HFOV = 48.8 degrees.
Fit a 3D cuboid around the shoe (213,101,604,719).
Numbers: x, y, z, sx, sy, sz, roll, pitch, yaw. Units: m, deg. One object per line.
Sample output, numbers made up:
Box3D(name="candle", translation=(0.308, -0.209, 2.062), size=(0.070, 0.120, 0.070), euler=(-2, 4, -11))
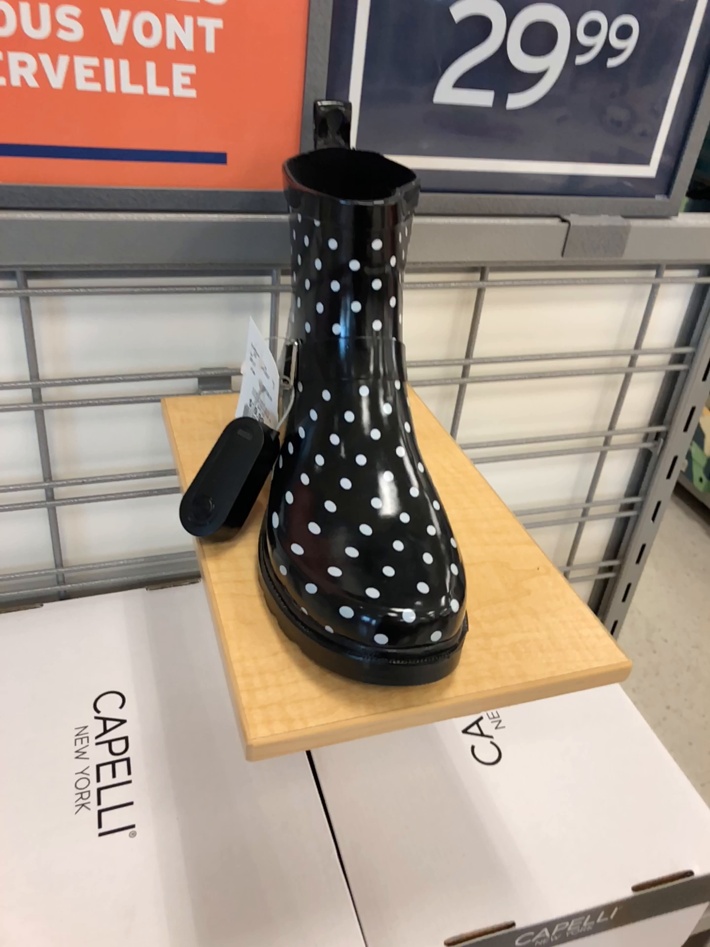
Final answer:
Box3D(name="shoe", translation=(-0.009, -0.054, 0.383), size=(0.095, 0.188, 0.262), euler=(-3, 34, -14))
